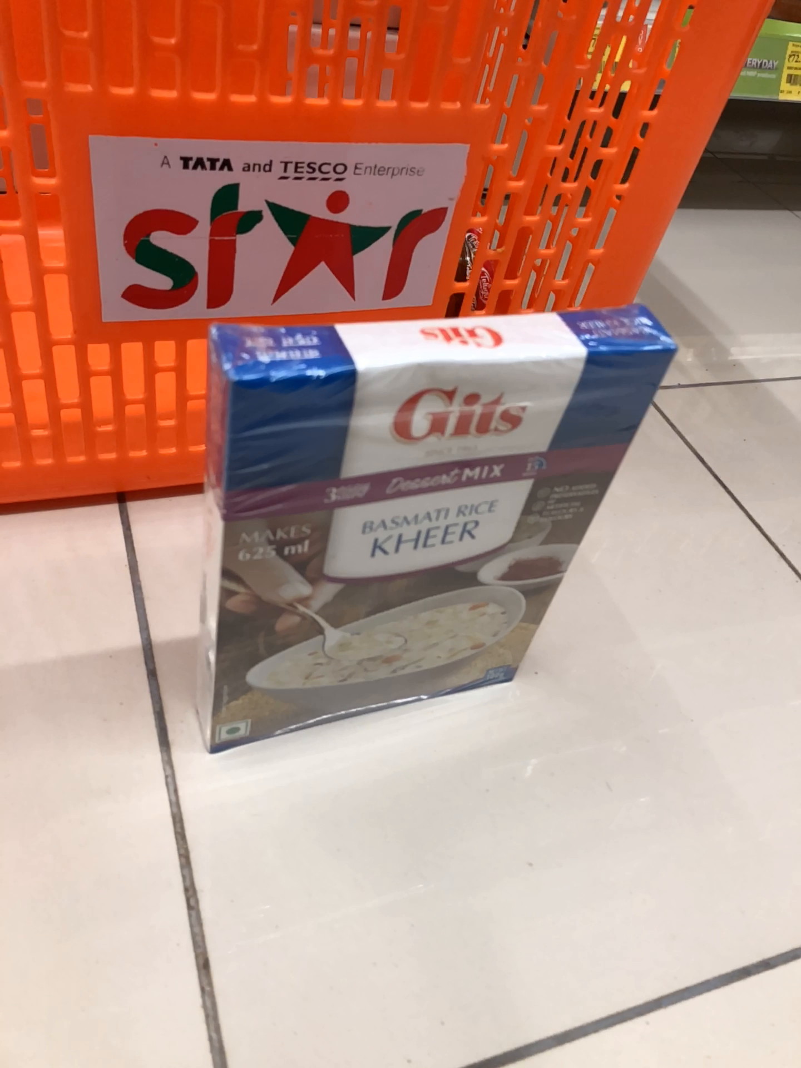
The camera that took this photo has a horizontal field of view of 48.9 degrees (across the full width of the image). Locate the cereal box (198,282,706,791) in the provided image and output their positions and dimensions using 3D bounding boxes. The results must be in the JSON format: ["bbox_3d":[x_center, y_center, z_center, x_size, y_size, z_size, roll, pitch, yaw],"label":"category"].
[{"bbox_3d":[0.003,0.007,0.263,0.120,0.159,0.030,-9,47,-21],"label":"cereal box"}]
